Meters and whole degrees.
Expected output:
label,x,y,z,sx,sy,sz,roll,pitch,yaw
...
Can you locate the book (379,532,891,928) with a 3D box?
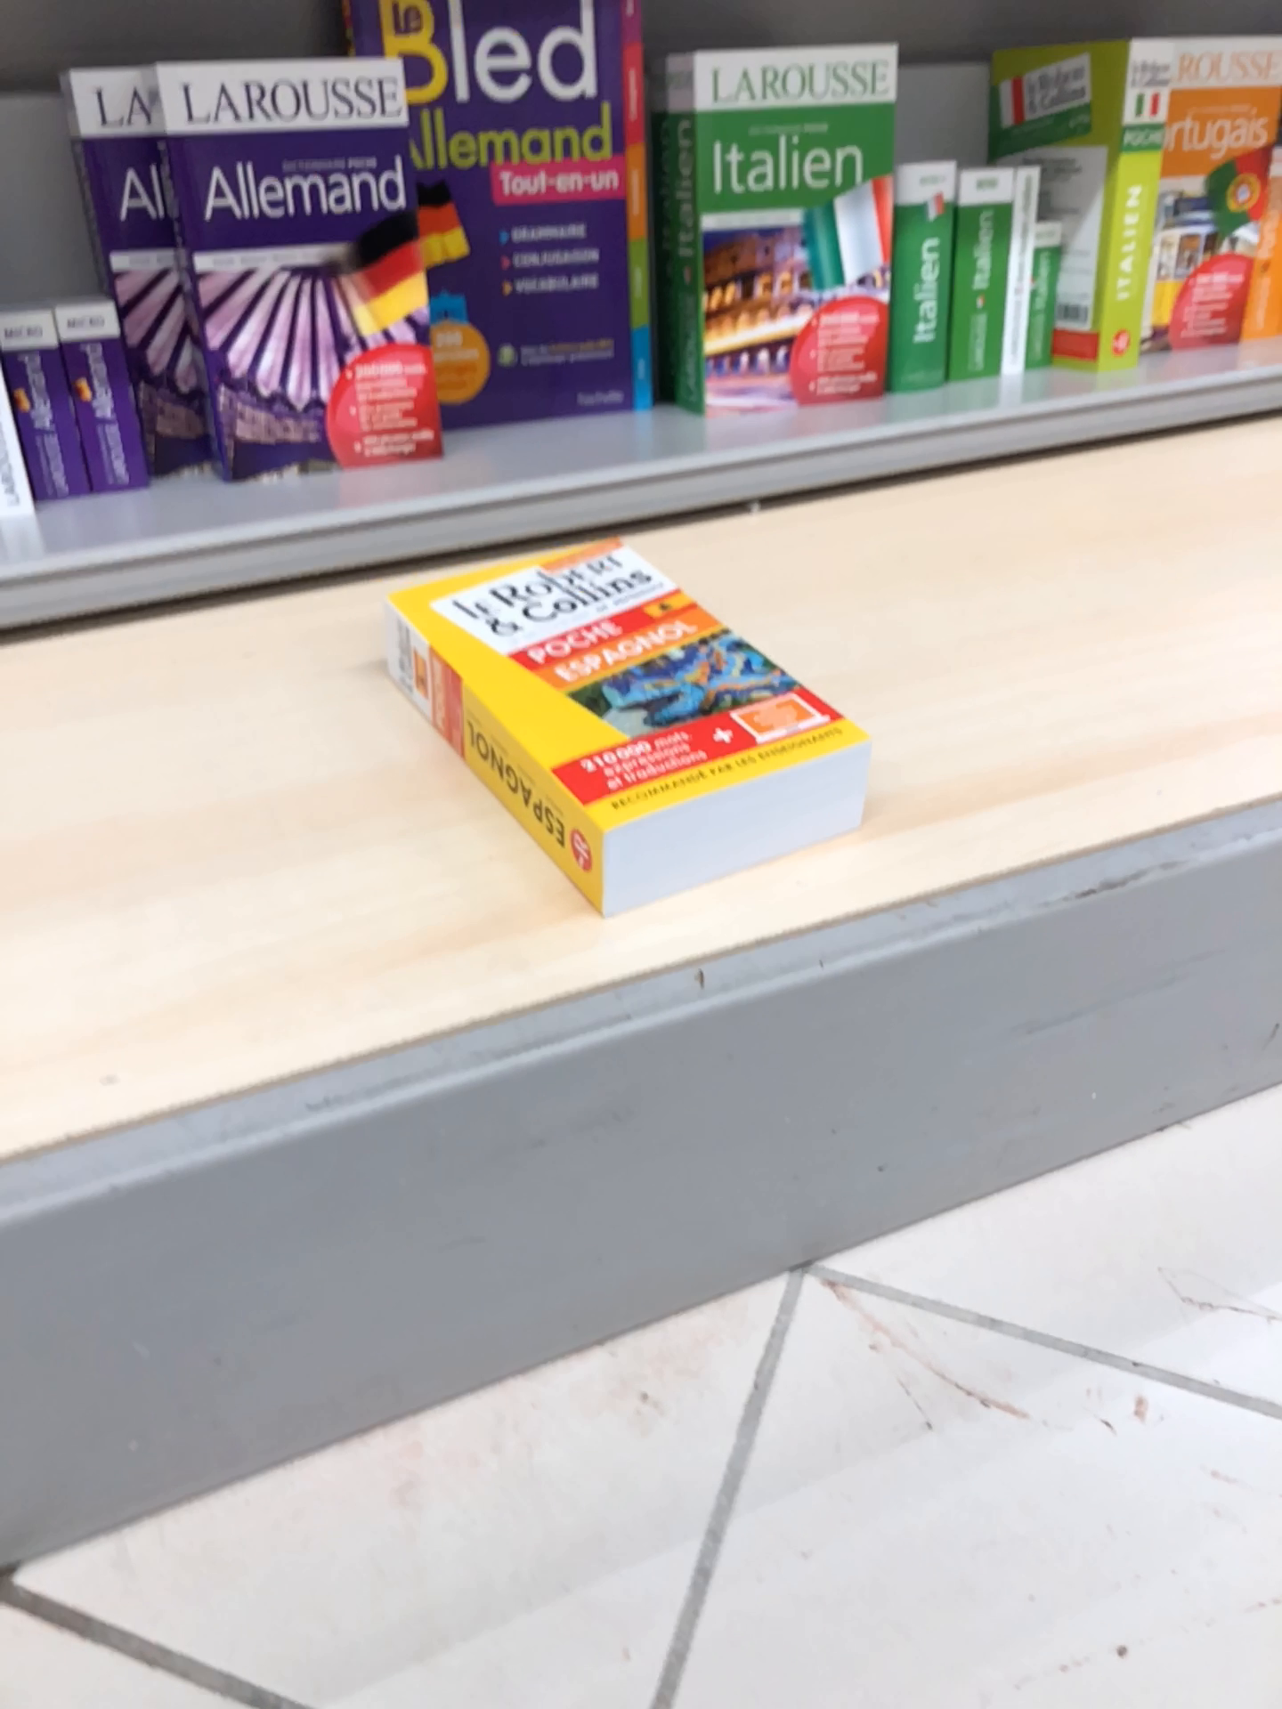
label,x,y,z,sx,sy,sz,roll,pitch,yaw
book,-0.010,-0.057,0.530,0.110,0.040,0.180,-18,43,-26
